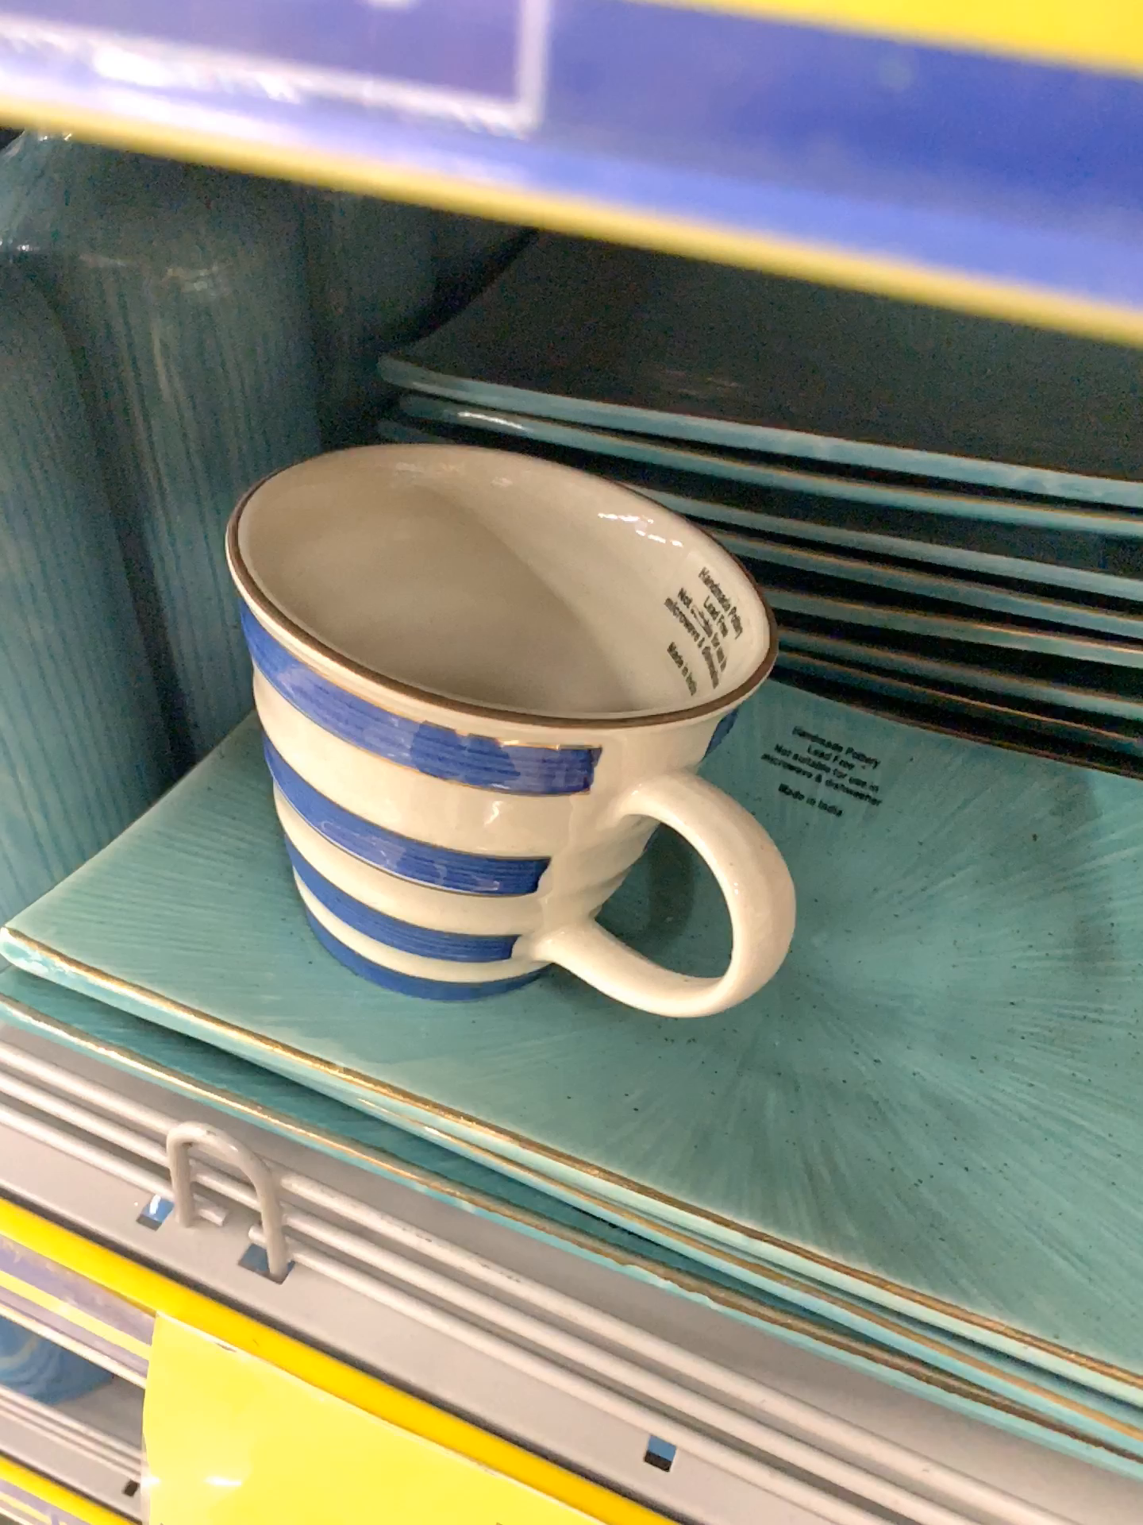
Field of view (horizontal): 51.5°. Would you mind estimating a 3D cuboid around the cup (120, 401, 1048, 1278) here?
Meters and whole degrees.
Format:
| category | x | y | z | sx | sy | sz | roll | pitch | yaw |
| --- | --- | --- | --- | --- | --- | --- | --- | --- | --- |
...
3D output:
| category | x | y | z | sx | sy | sz | roll | pitch | yaw |
| --- | --- | --- | --- | --- | --- | --- | --- | --- | --- |
| cup | -0.003 | 0.002 | 0.239 | 0.140 | 0.080 | 0.100 | 33 | 41 | 22 |
